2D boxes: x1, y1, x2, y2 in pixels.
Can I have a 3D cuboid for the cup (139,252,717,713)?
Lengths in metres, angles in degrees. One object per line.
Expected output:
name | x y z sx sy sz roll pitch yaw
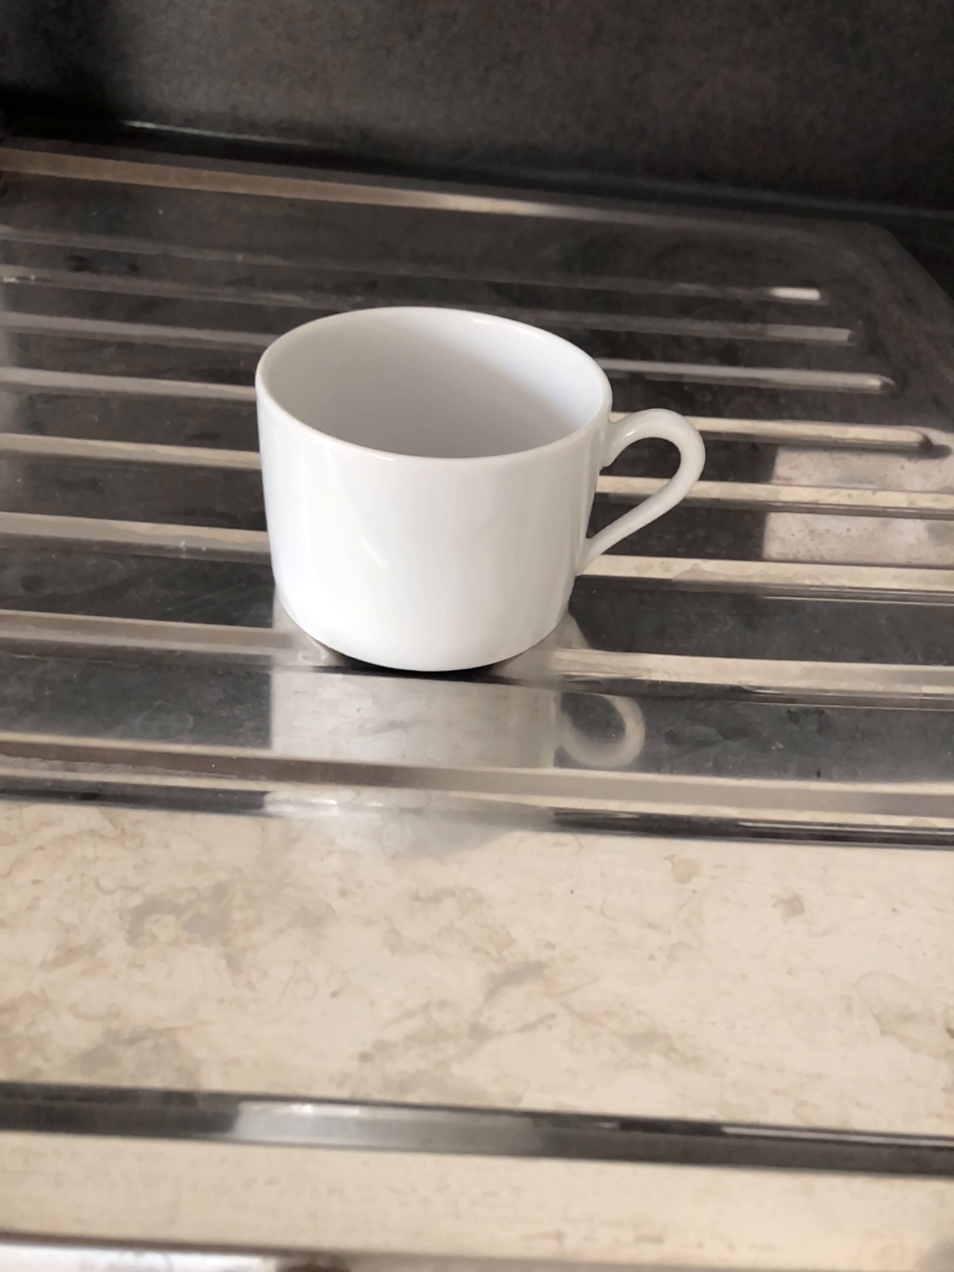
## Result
cup | -0.007 -0.040 0.248 0.110 0.060 0.081 9 37 3
